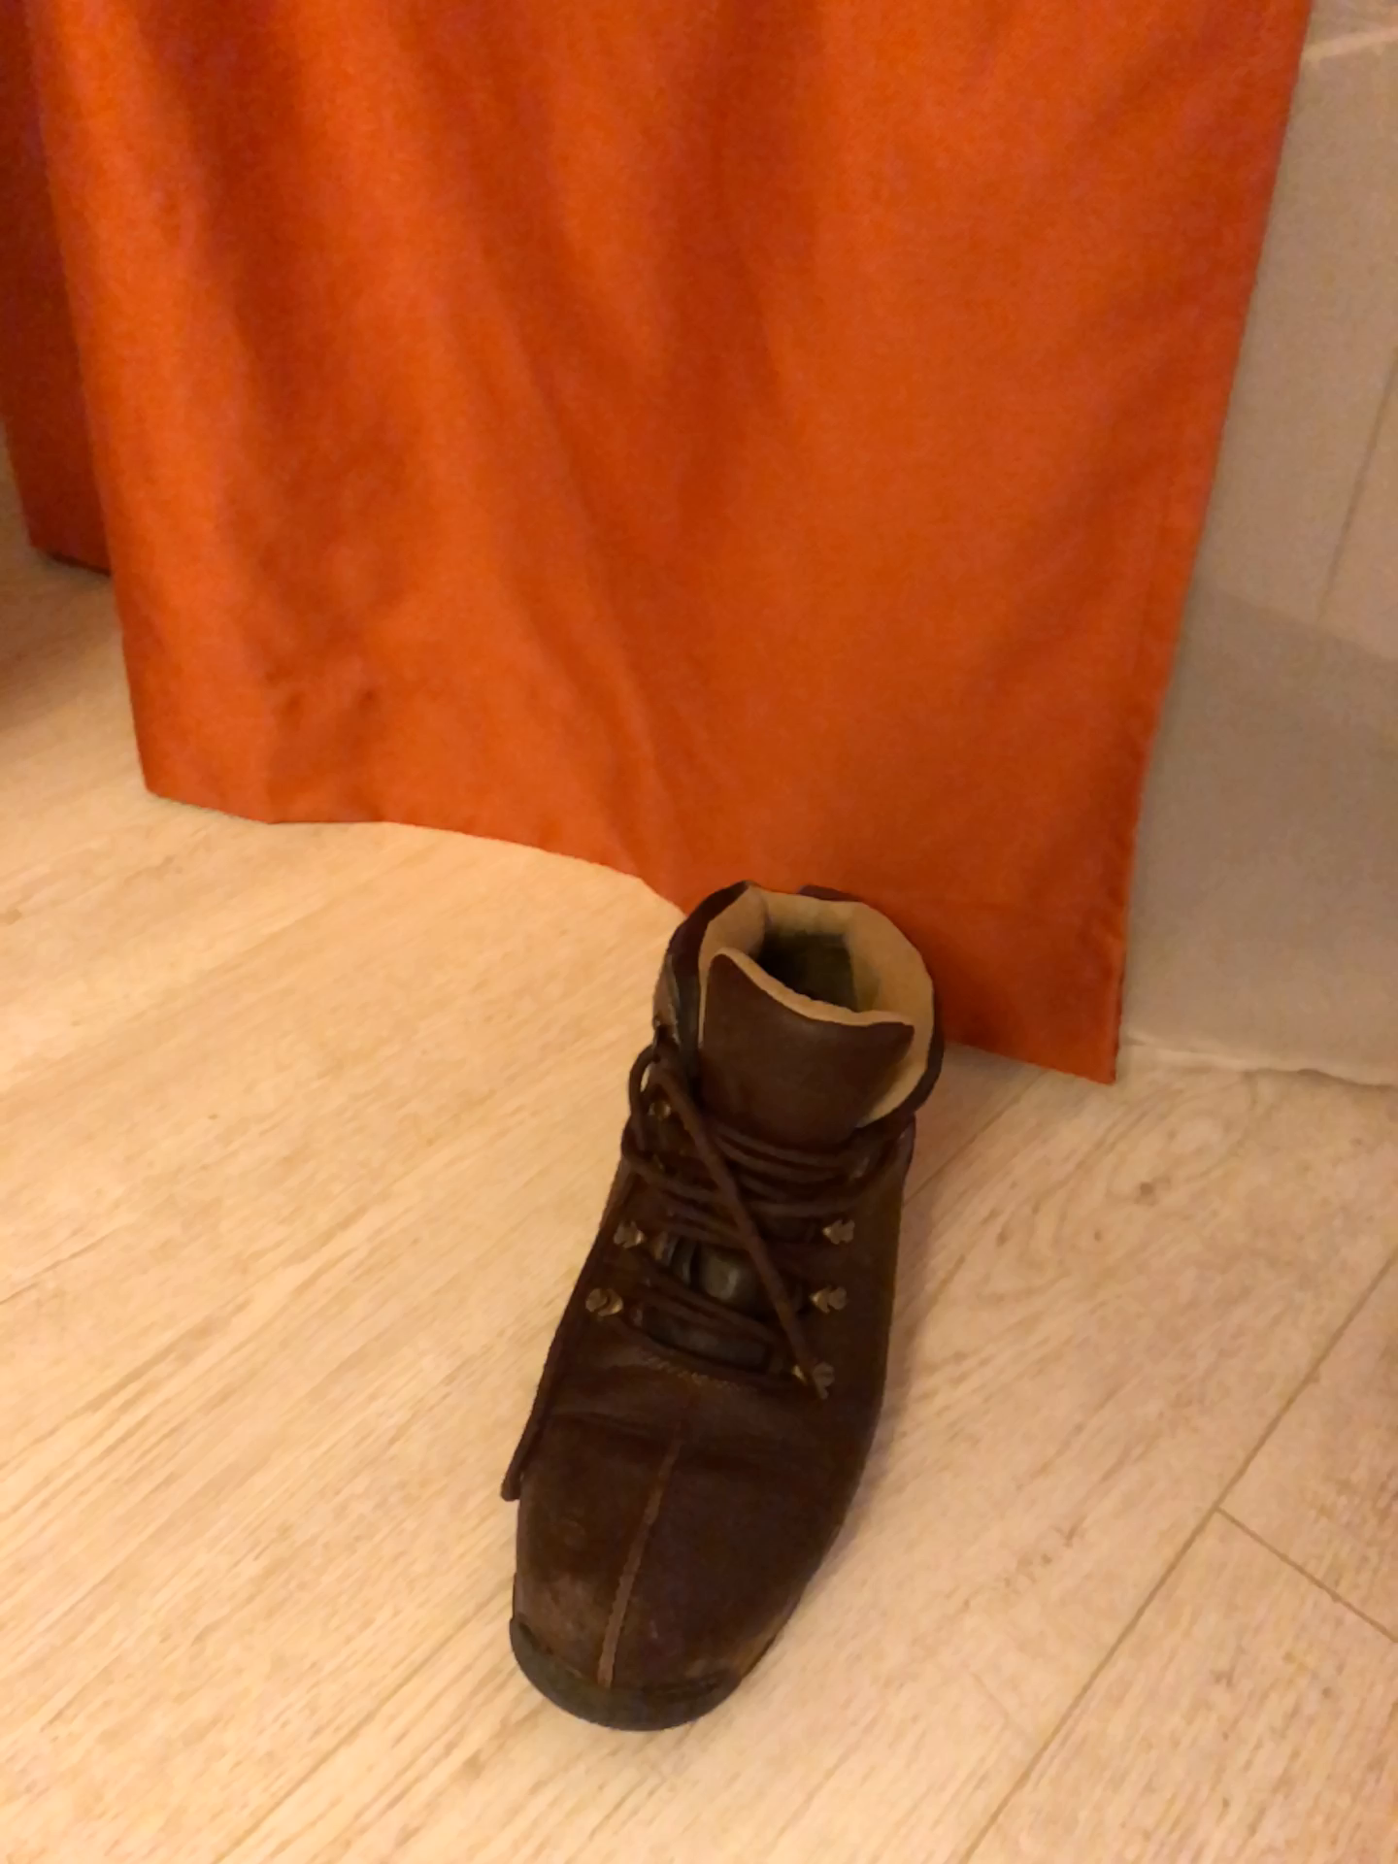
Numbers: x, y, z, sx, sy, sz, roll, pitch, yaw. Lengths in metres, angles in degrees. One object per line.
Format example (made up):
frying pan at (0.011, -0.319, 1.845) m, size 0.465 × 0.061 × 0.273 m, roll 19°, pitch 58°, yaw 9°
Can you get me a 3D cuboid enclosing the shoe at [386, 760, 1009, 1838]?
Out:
shoe at (0.017, 0.100, 0.519) m, size 0.110 × 0.159 × 0.302 m, roll 12°, pitch 42°, yaw 11°
